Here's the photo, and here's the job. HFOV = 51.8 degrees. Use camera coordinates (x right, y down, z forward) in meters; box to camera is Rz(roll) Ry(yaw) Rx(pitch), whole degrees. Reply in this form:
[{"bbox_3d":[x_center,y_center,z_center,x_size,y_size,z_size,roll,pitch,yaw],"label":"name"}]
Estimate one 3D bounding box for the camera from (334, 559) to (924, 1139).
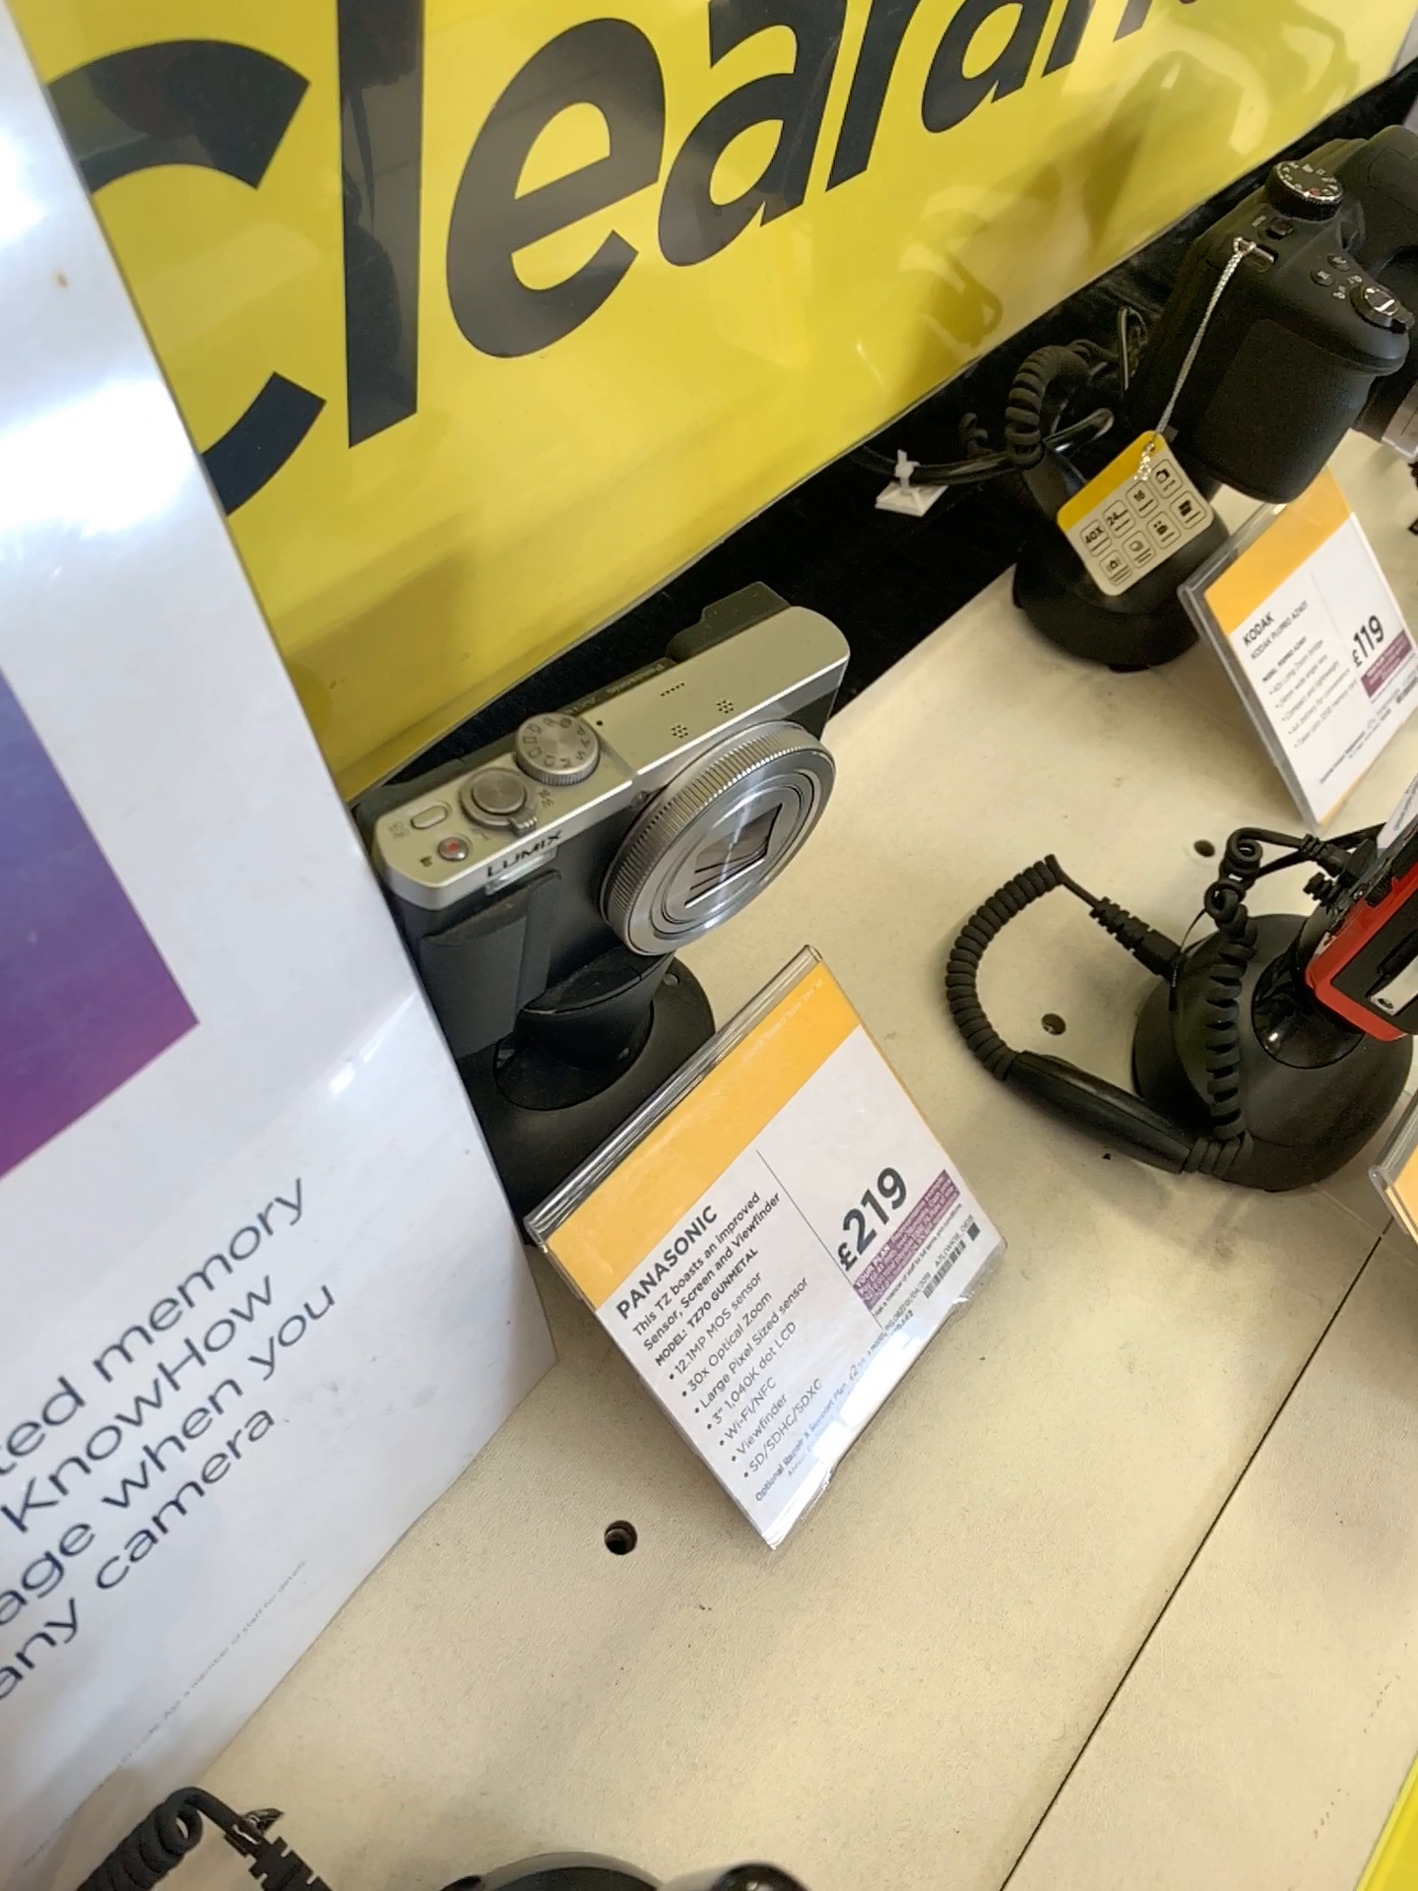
[{"bbox_3d":[-0.017,-0.021,0.298,0.110,0.069,0.040,-34,68,-29],"label":"camera"}]
